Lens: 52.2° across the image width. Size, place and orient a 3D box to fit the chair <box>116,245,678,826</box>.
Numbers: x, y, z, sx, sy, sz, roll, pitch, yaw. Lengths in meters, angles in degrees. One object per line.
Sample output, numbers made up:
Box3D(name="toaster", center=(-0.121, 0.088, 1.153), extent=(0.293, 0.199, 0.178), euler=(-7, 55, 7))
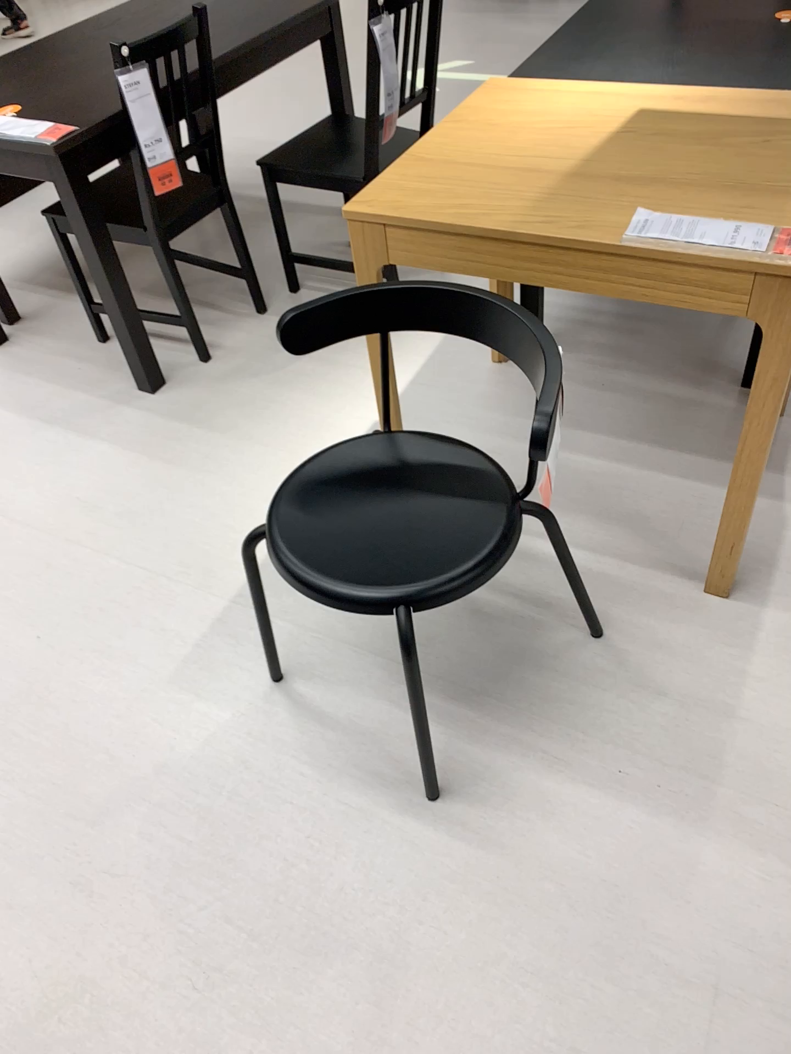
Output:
Box3D(name="chair", center=(0.032, -0.017, 1.419), extent=(0.591, 0.598, 0.611), euler=(29, 56, 32))
